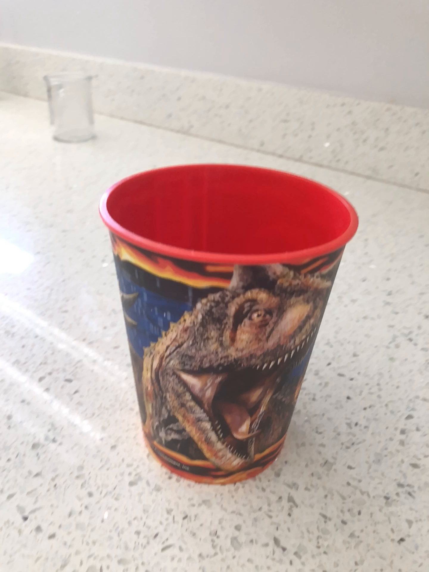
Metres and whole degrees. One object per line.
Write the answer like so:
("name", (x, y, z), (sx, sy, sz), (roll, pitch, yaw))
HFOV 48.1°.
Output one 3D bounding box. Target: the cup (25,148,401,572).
("cup", (-0.003, 0.017, 0.190), (0.090, 0.110, 0.090), (2, 30, -1))
